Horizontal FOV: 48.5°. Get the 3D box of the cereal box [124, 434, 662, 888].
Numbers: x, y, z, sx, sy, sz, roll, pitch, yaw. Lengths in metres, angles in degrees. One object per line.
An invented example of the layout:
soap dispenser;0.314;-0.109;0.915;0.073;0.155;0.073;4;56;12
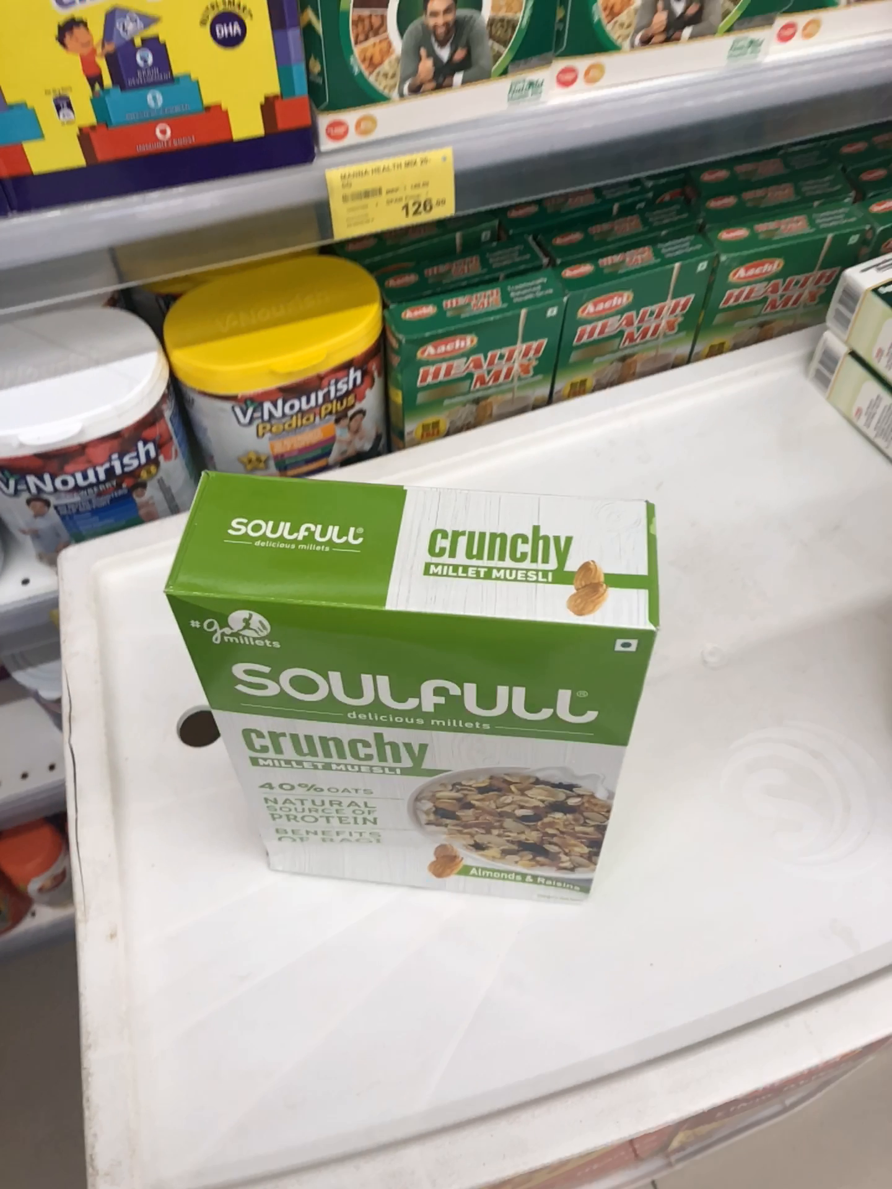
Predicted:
cereal box;-0.011;0.047;0.449;0.180;0.250;0.070;5;56;7
